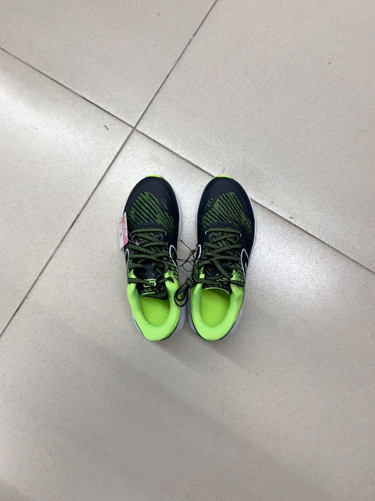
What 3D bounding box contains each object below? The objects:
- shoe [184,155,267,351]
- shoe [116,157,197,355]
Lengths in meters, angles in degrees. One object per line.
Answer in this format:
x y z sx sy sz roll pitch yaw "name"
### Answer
0.050 0.004 0.534 0.090 0.110 0.240 3 86 2 "shoe"
-0.038 0.009 0.530 0.090 0.110 0.240 -3 86 2 "shoe"
